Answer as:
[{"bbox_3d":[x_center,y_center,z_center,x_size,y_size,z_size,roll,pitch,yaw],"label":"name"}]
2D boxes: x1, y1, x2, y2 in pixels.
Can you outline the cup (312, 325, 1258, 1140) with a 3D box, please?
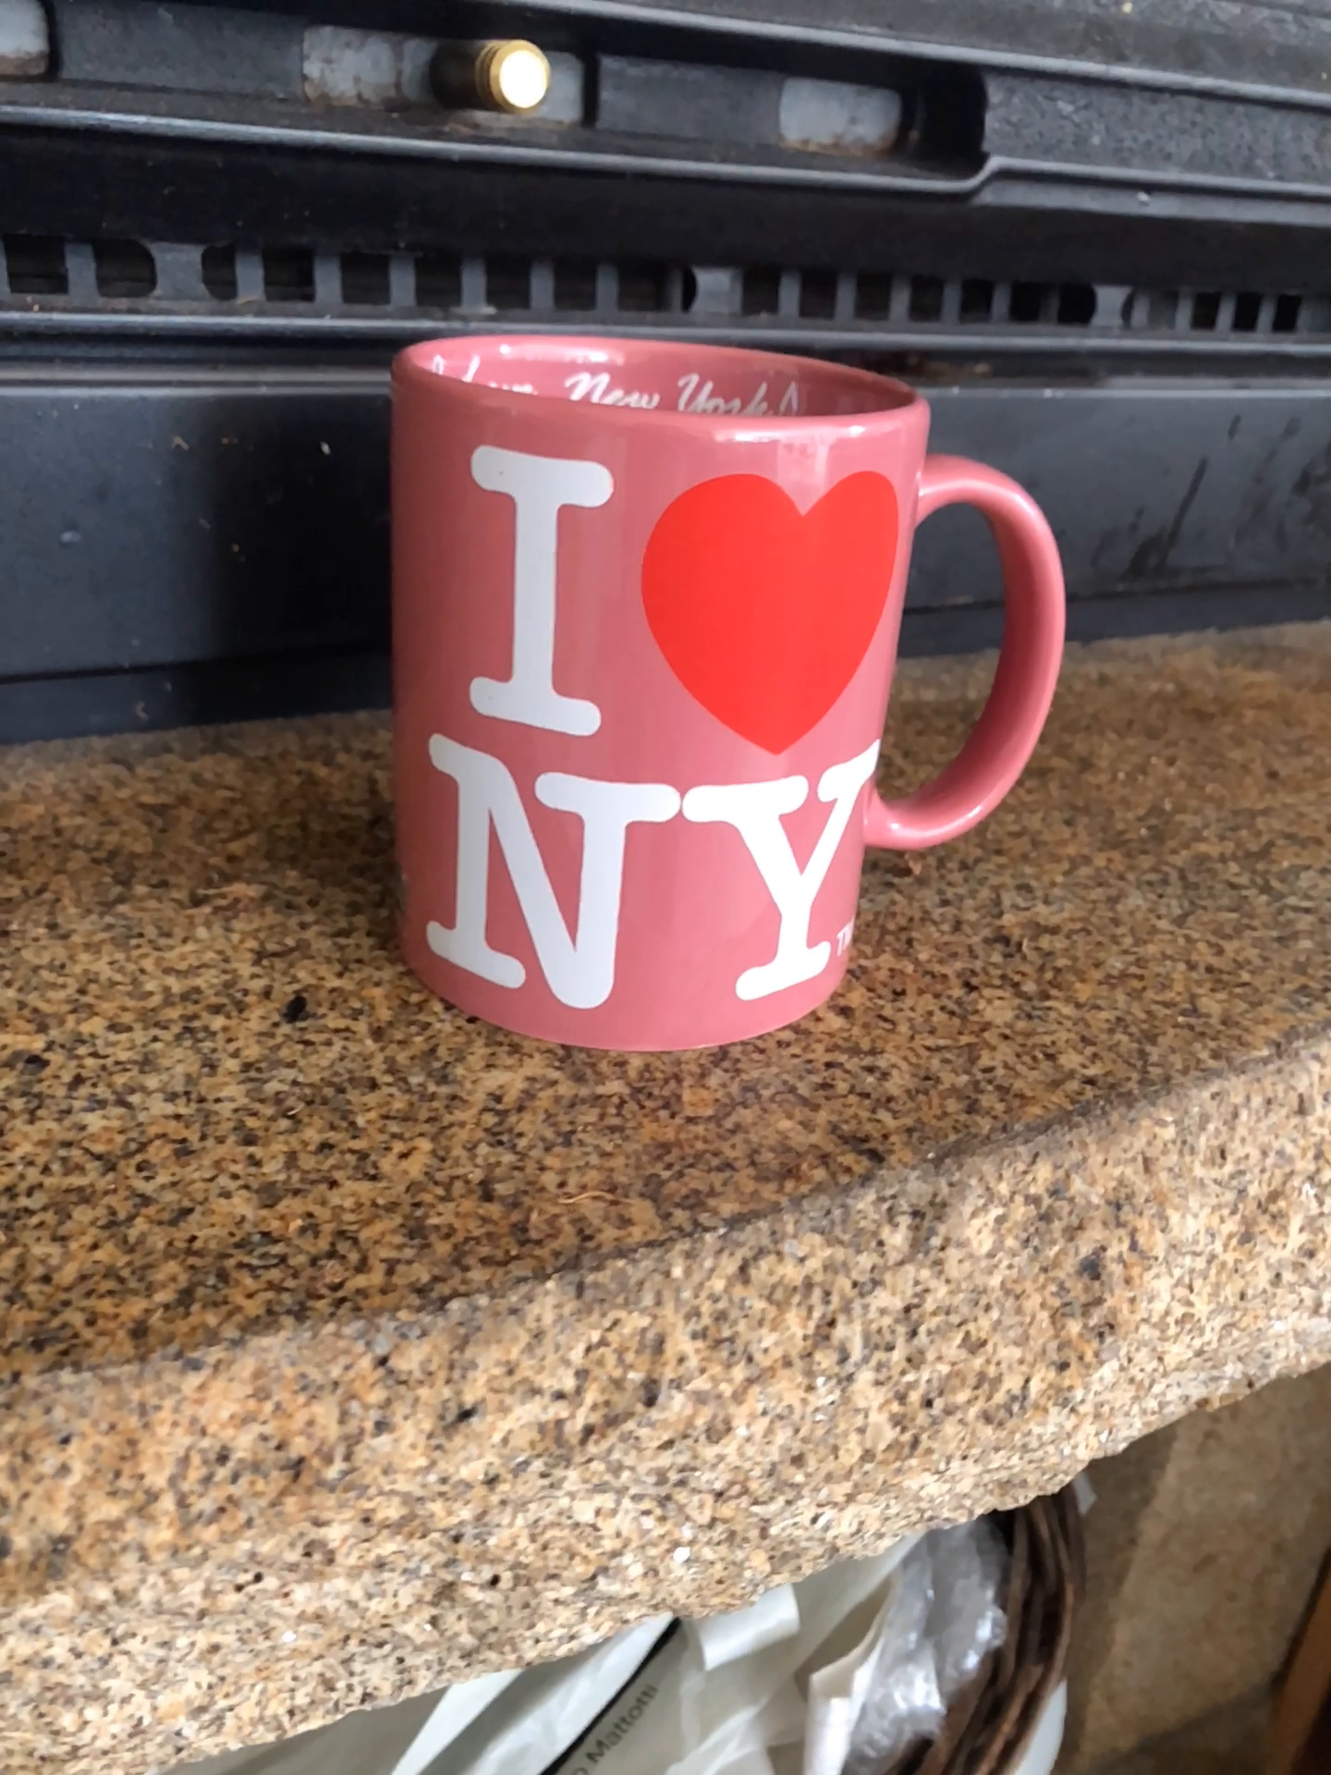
[{"bbox_3d":[0.013,-0.037,0.257,0.120,0.099,0.090,-10,30,-29],"label":"cup"}]
